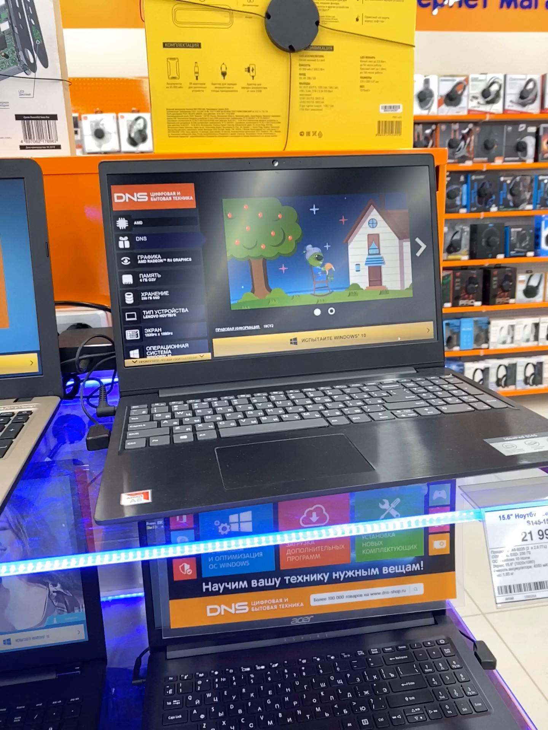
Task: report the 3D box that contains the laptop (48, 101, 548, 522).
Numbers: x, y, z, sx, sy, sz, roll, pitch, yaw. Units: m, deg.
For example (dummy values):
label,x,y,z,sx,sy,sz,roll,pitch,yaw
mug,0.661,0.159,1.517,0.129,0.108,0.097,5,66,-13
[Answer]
label,x,y,z,sx,sy,sz,roll,pitch,yaw
laptop,0.036,-0.071,0.487,0.358,0.233,0.298,-5,15,-10
